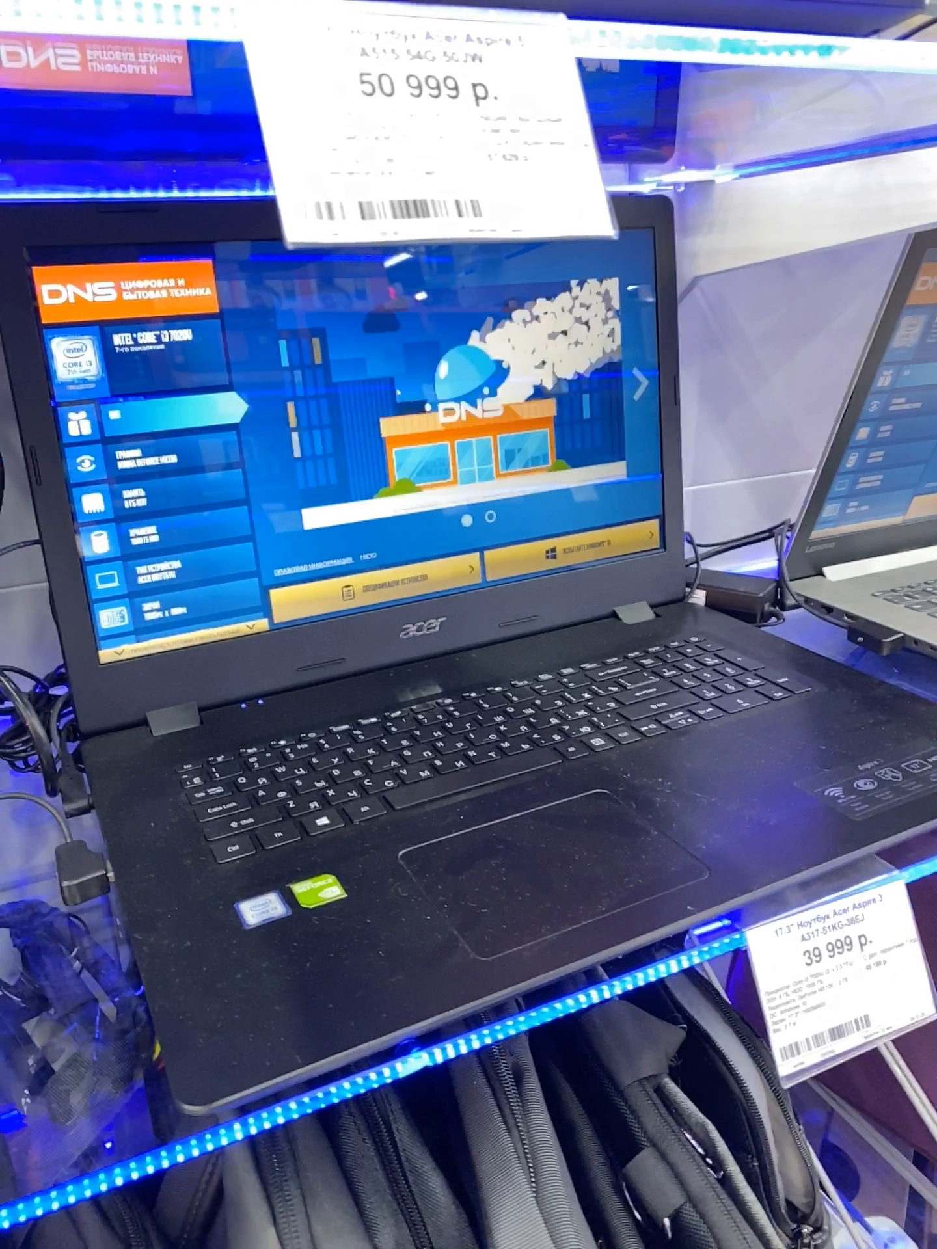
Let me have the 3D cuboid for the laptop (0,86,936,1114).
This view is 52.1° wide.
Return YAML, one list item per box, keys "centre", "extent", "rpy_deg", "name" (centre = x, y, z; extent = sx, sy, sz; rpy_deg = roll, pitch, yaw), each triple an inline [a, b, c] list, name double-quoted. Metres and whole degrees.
- centre: [0.028, -0.070, 0.466]
  extent: [0.422, 0.273, 0.328]
  rpy_deg: [-11, 22, -24]
  name: "laptop"
